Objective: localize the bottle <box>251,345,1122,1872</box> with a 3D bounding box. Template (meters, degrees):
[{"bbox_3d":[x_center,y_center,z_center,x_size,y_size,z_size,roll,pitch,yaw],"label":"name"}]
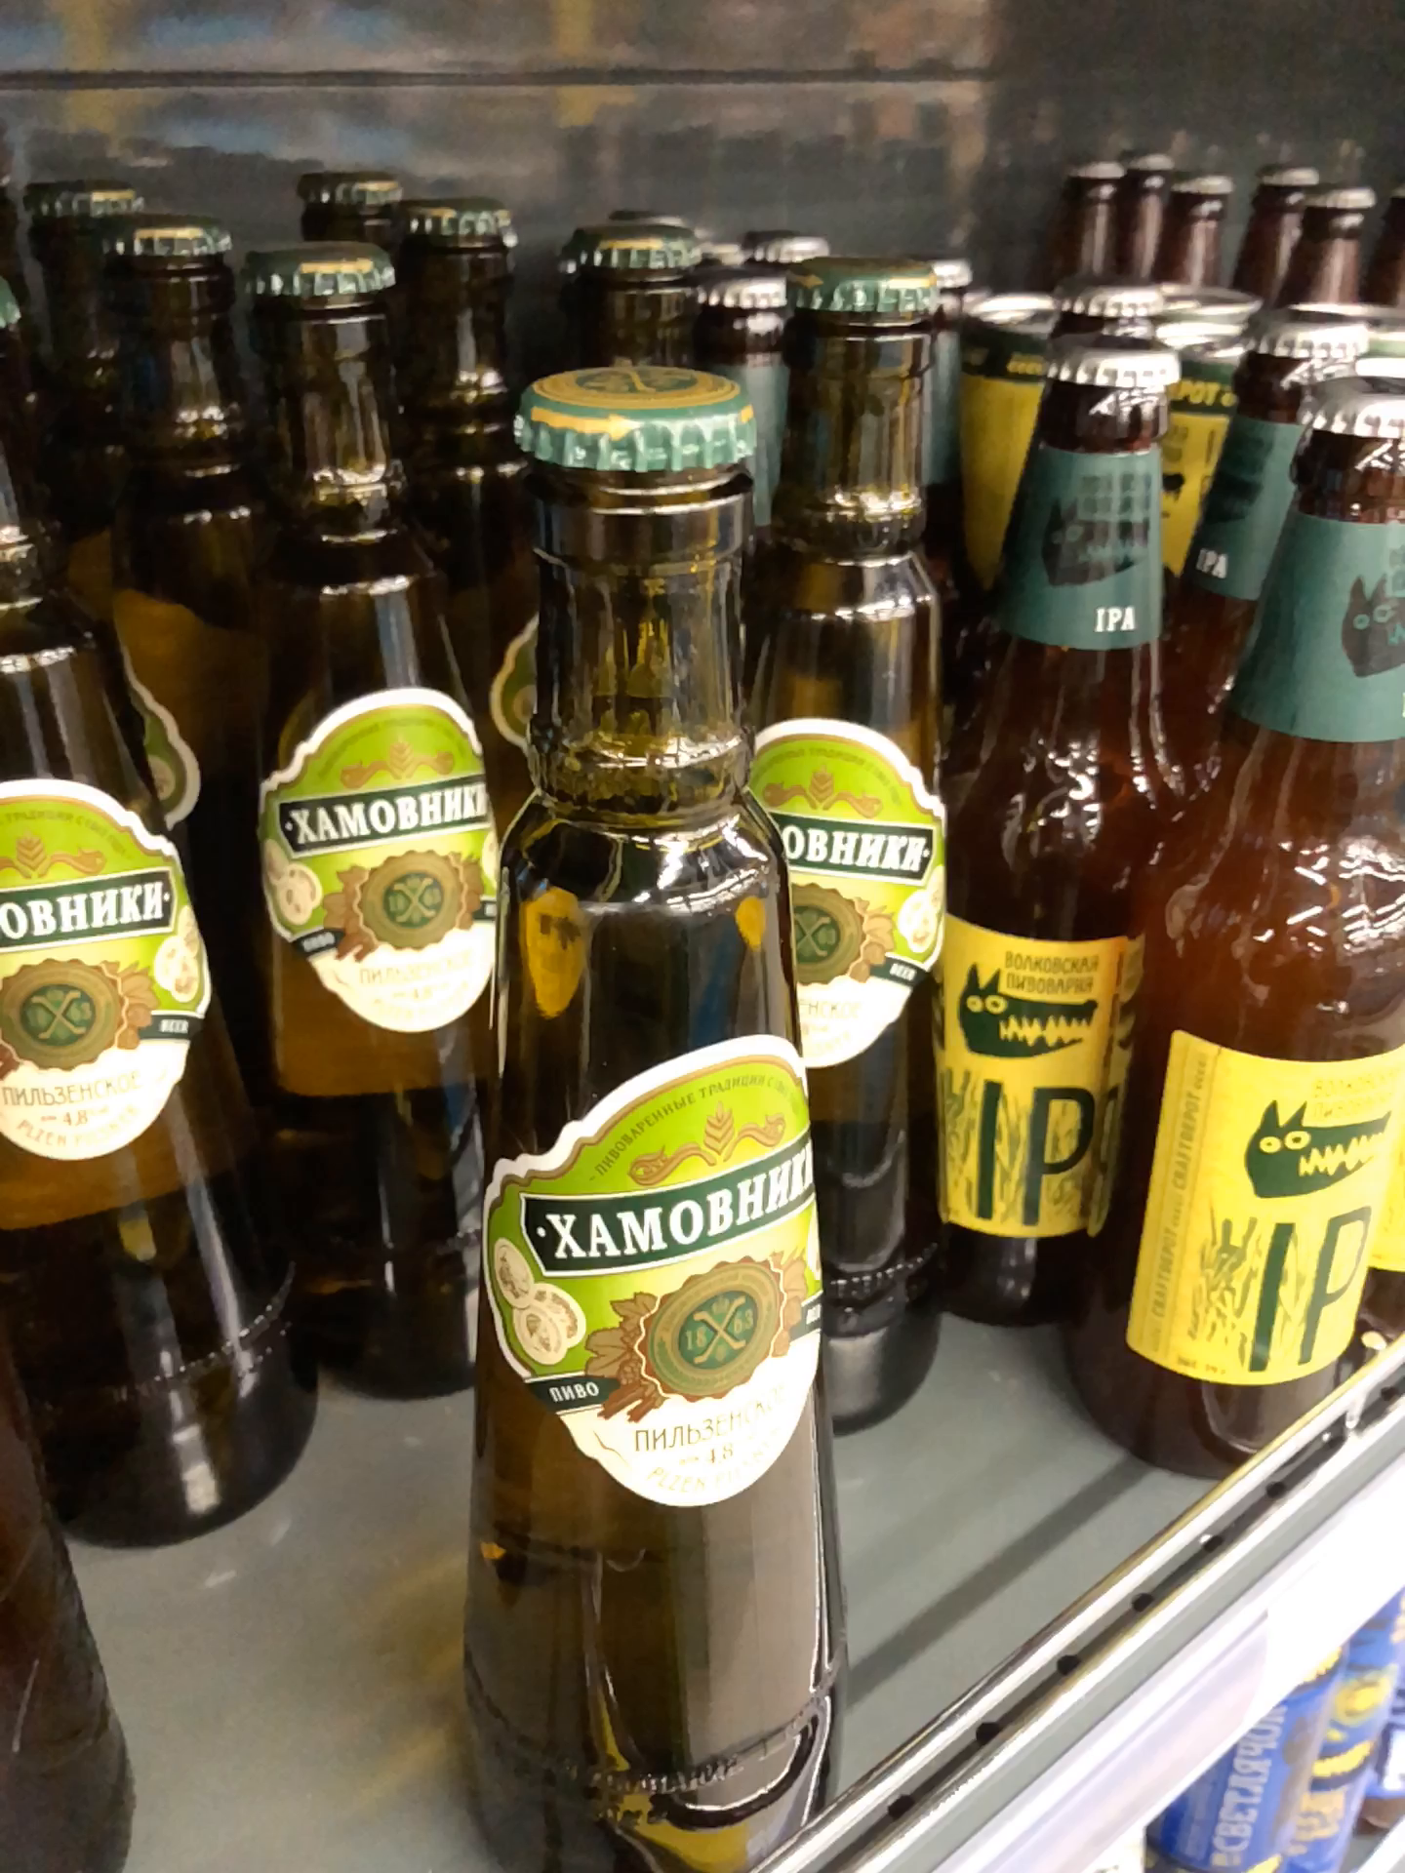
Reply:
[{"bbox_3d":[-0.006,0.057,0.235,0.070,0.260,0.070,0,30,0],"label":"bottle"}]
